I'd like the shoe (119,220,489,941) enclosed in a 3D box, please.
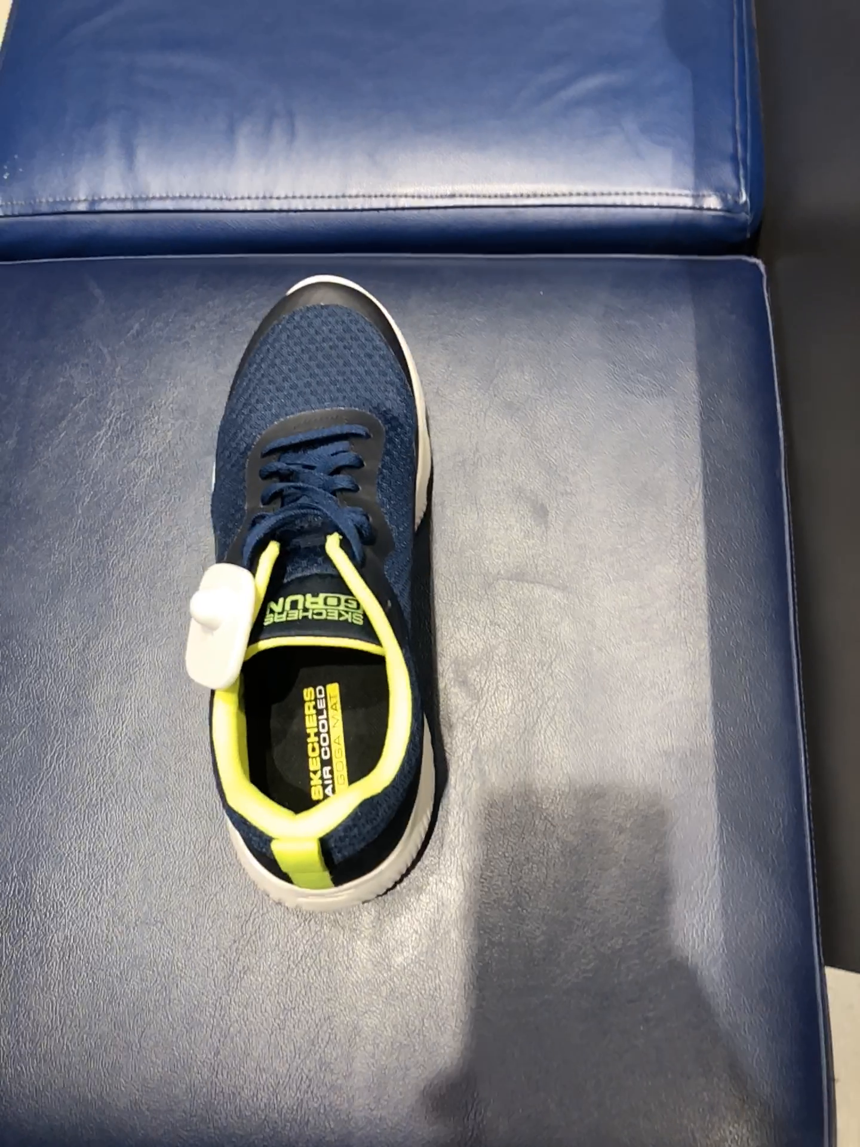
[{"bbox_3d":[-0.049,0.008,0.397,0.113,0.132,0.255,-7,71,2],"label":"shoe"}]
